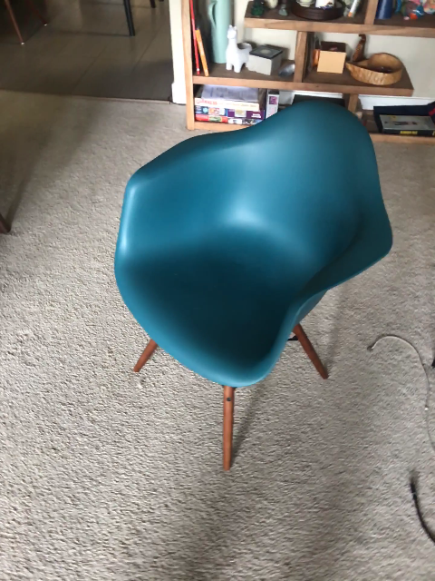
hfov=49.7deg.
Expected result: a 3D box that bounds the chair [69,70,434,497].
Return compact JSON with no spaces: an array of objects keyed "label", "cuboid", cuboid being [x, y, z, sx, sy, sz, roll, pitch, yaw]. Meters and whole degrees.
[{"label":"chair","cuboid":[0.075,-0.029,1.240,0.563,0.784,0.581,-30,53,-30]}]
